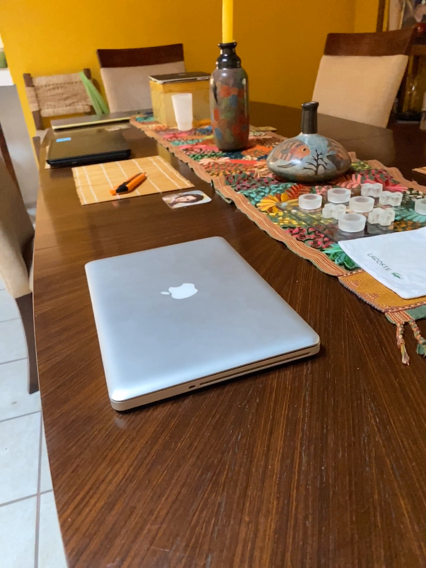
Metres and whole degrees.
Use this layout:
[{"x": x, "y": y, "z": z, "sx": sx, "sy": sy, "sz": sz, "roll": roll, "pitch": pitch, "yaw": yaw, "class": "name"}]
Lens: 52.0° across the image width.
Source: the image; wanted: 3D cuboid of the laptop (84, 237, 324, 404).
[{"x": -0.041, "y": 0.017, "z": 0.583, "sx": 0.232, "sy": 0.002, "sz": 0.325, "roll": -13, "pitch": 30, "yaw": -15, "class": "laptop"}]

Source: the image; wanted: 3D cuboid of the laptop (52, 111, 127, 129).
[{"x": -0.635, "y": -0.840, "z": 2.223, "sx": 0.343, "sy": 0.004, "sz": 0.321, "roll": -16, "pitch": 31, "yaw": -18, "class": "laptop"}]

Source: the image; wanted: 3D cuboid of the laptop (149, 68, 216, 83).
[{"x": -0.135, "y": -0.861, "z": 1.801, "sx": 0.214, "sy": 0.011, "sz": 0.310, "roll": -12, "pitch": 31, "yaw": -9, "class": "laptop"}]

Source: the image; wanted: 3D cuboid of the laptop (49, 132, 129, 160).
[{"x": -0.446, "y": -0.497, "z": 1.554, "sx": 0.254, "sy": 0.012, "sz": 0.303, "roll": -11, "pitch": 31, "yaw": -16, "class": "laptop"}]
